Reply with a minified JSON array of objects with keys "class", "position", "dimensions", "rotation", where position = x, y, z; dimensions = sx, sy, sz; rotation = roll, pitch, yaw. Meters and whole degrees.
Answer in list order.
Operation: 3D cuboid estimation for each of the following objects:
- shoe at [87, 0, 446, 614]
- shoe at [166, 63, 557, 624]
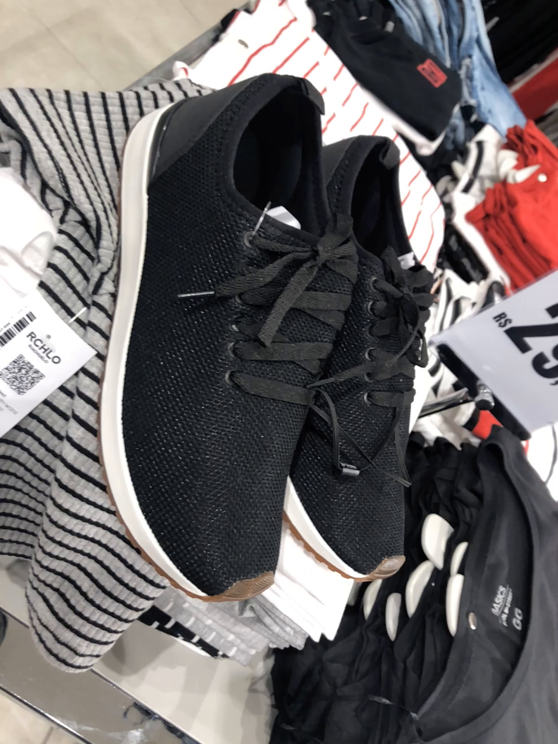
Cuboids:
[{"class":"shoe","position":[-0.018,-0.028,0.304],"dimensions":[0.101,0.119,0.260],"rotation":[10,68,-42]},{"class":"shoe","position":[0.035,-0.014,0.362],"dimensions":[0.101,0.119,0.270],"rotation":[2,67,-45]}]
